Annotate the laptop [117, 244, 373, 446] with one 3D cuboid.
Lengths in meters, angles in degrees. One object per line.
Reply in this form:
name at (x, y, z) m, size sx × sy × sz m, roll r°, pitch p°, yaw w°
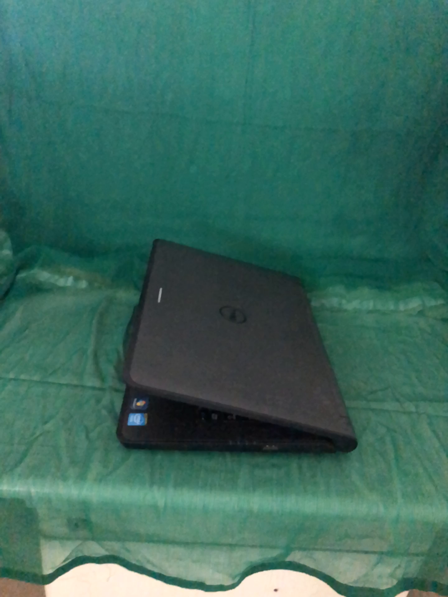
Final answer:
laptop at (0.012, 0.033, 0.590) m, size 0.229 × 0.064 × 0.307 m, roll 3°, pitch 29°, yaw -4°
